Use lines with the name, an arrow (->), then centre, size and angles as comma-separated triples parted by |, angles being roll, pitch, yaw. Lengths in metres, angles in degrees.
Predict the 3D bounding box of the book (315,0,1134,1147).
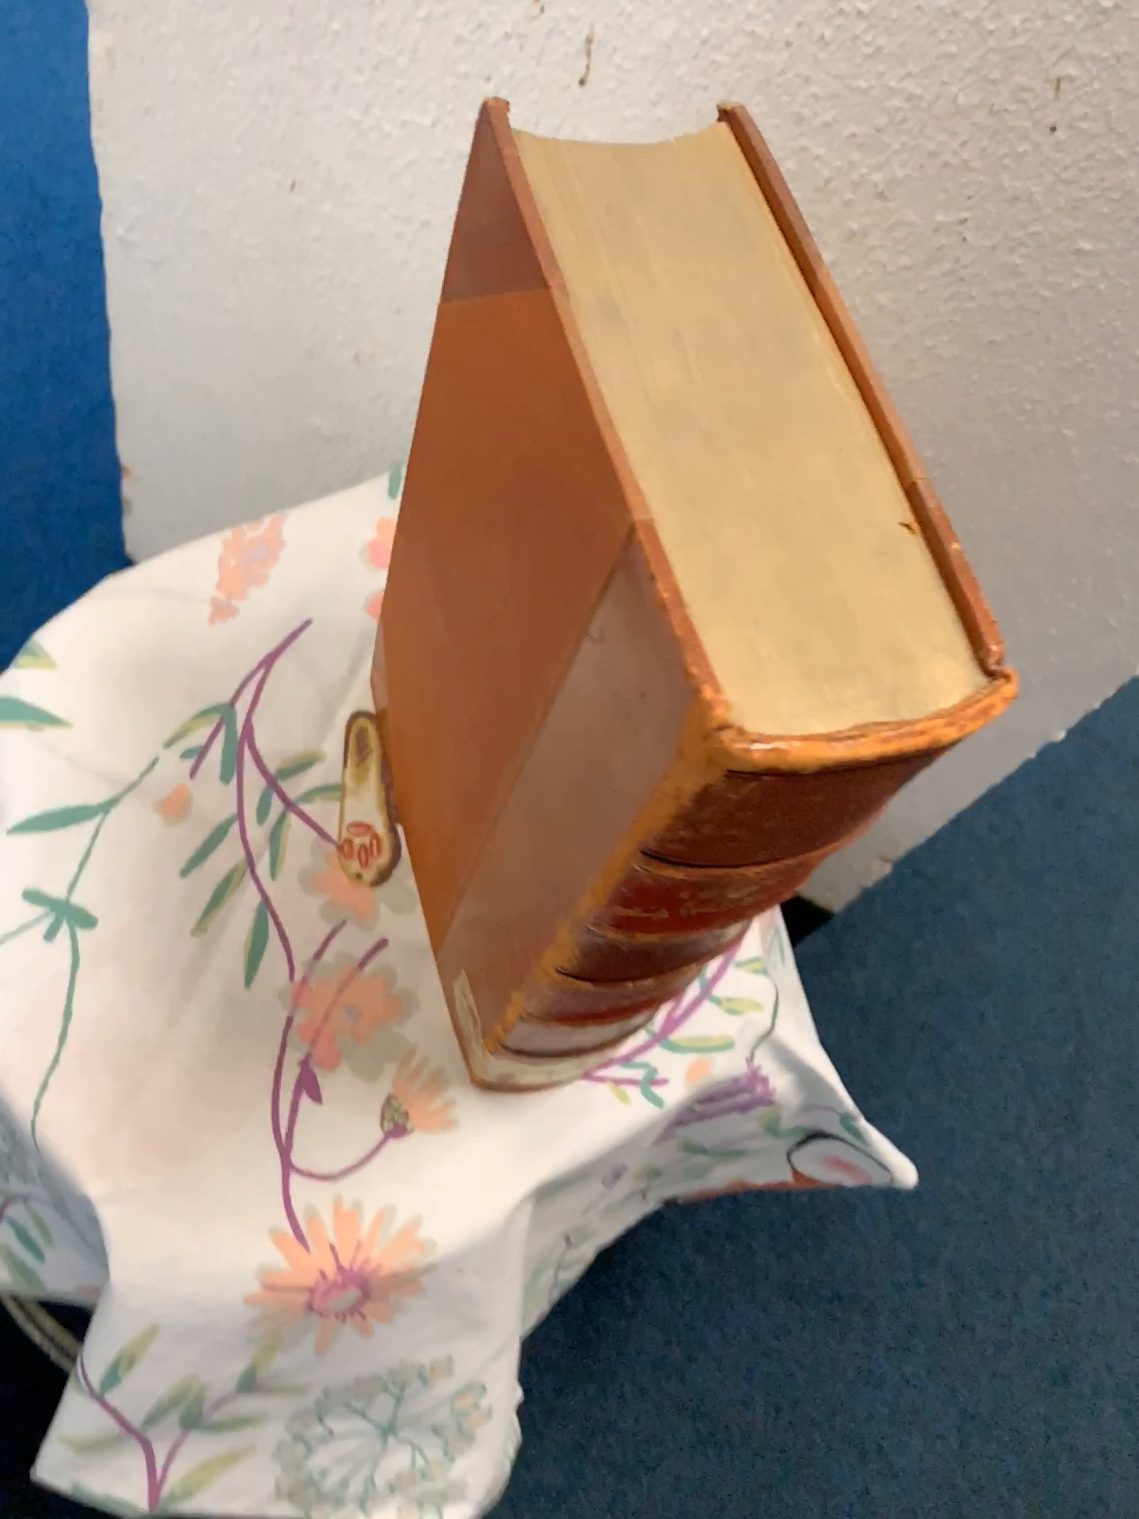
book -> -0.003, -0.023, 0.318 | 0.070, 0.248, 0.191 | -8, 65, -22
